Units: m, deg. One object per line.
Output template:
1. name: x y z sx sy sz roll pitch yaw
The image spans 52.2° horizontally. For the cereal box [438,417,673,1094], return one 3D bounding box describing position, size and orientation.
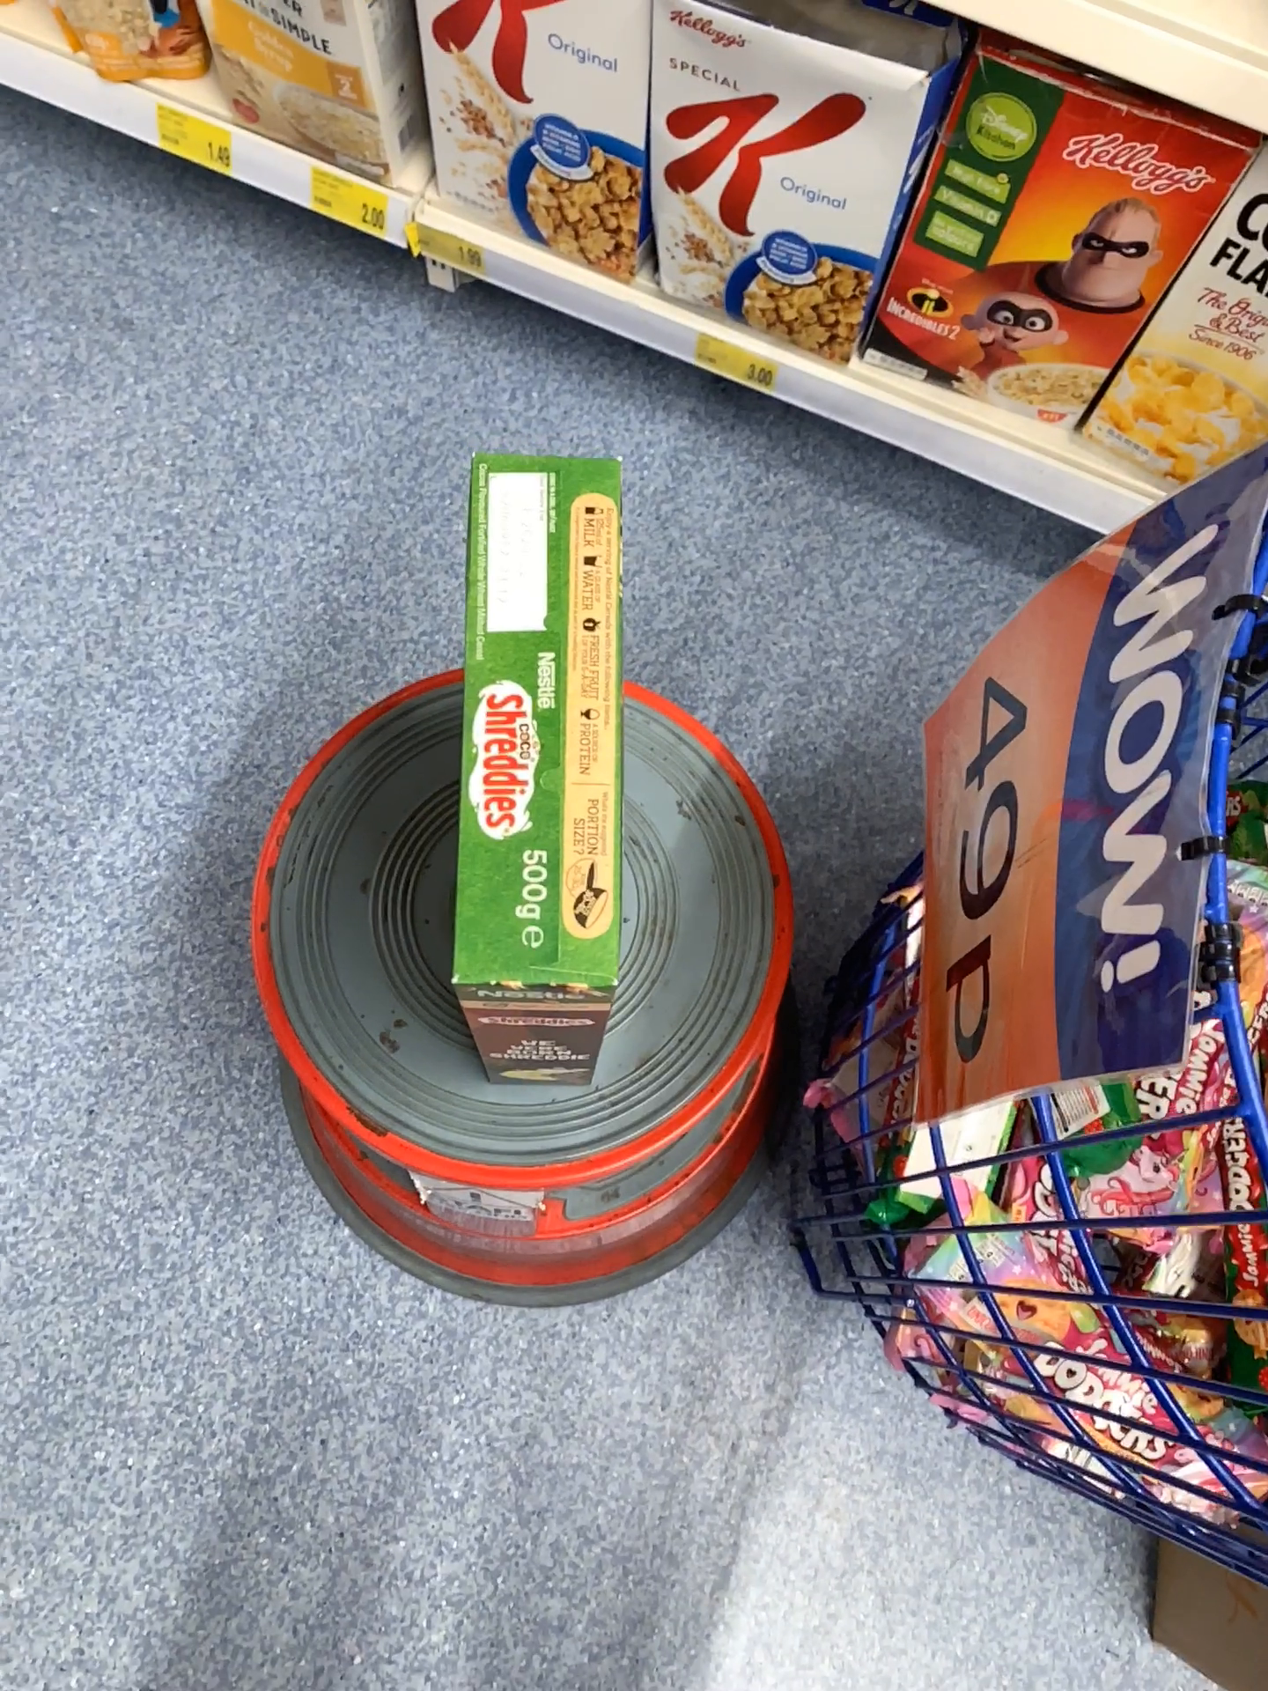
1. cereal box: -0.031 -0.011 0.550 0.070 0.279 0.201 1 73 -3
